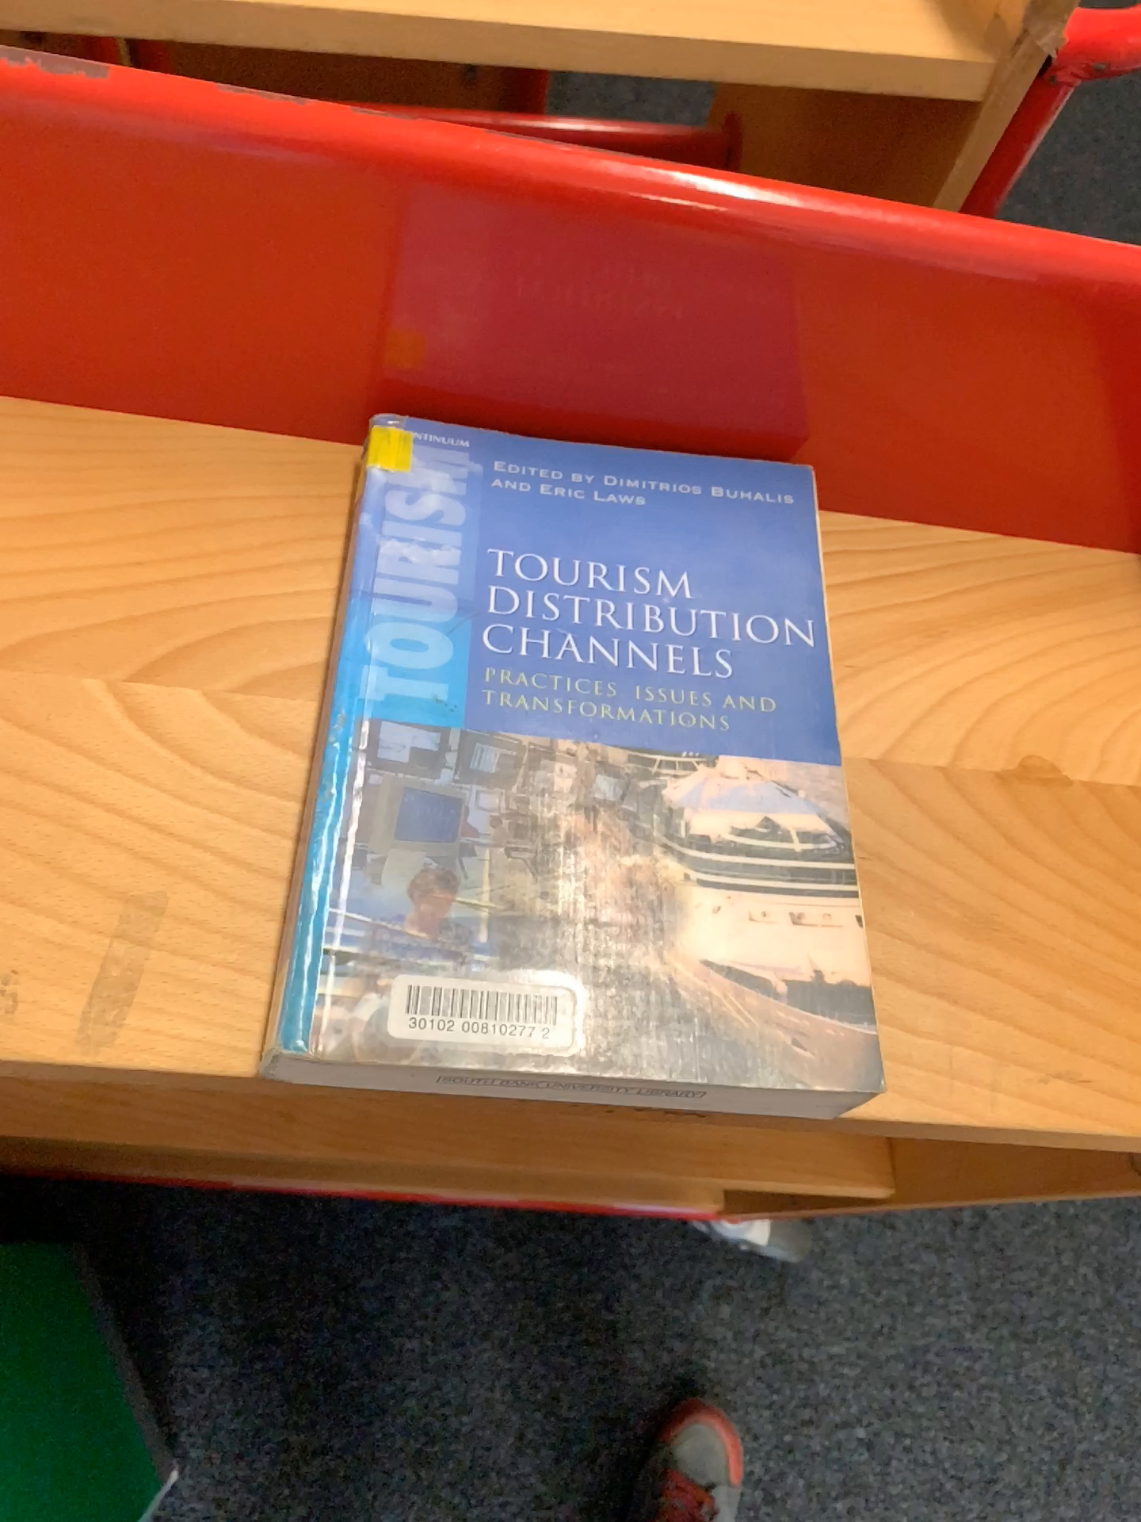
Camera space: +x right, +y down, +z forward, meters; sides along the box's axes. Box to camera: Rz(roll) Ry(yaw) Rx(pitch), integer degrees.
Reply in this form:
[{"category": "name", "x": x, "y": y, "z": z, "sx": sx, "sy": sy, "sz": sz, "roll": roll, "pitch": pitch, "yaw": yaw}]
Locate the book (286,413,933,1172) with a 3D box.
[{"category": "book", "x": 0.014, "y": -0.002, "z": 0.372, "sx": 0.167, "sy": 0.031, "sz": 0.239, "roll": 7, "pitch": 58, "yaw": -8}]
